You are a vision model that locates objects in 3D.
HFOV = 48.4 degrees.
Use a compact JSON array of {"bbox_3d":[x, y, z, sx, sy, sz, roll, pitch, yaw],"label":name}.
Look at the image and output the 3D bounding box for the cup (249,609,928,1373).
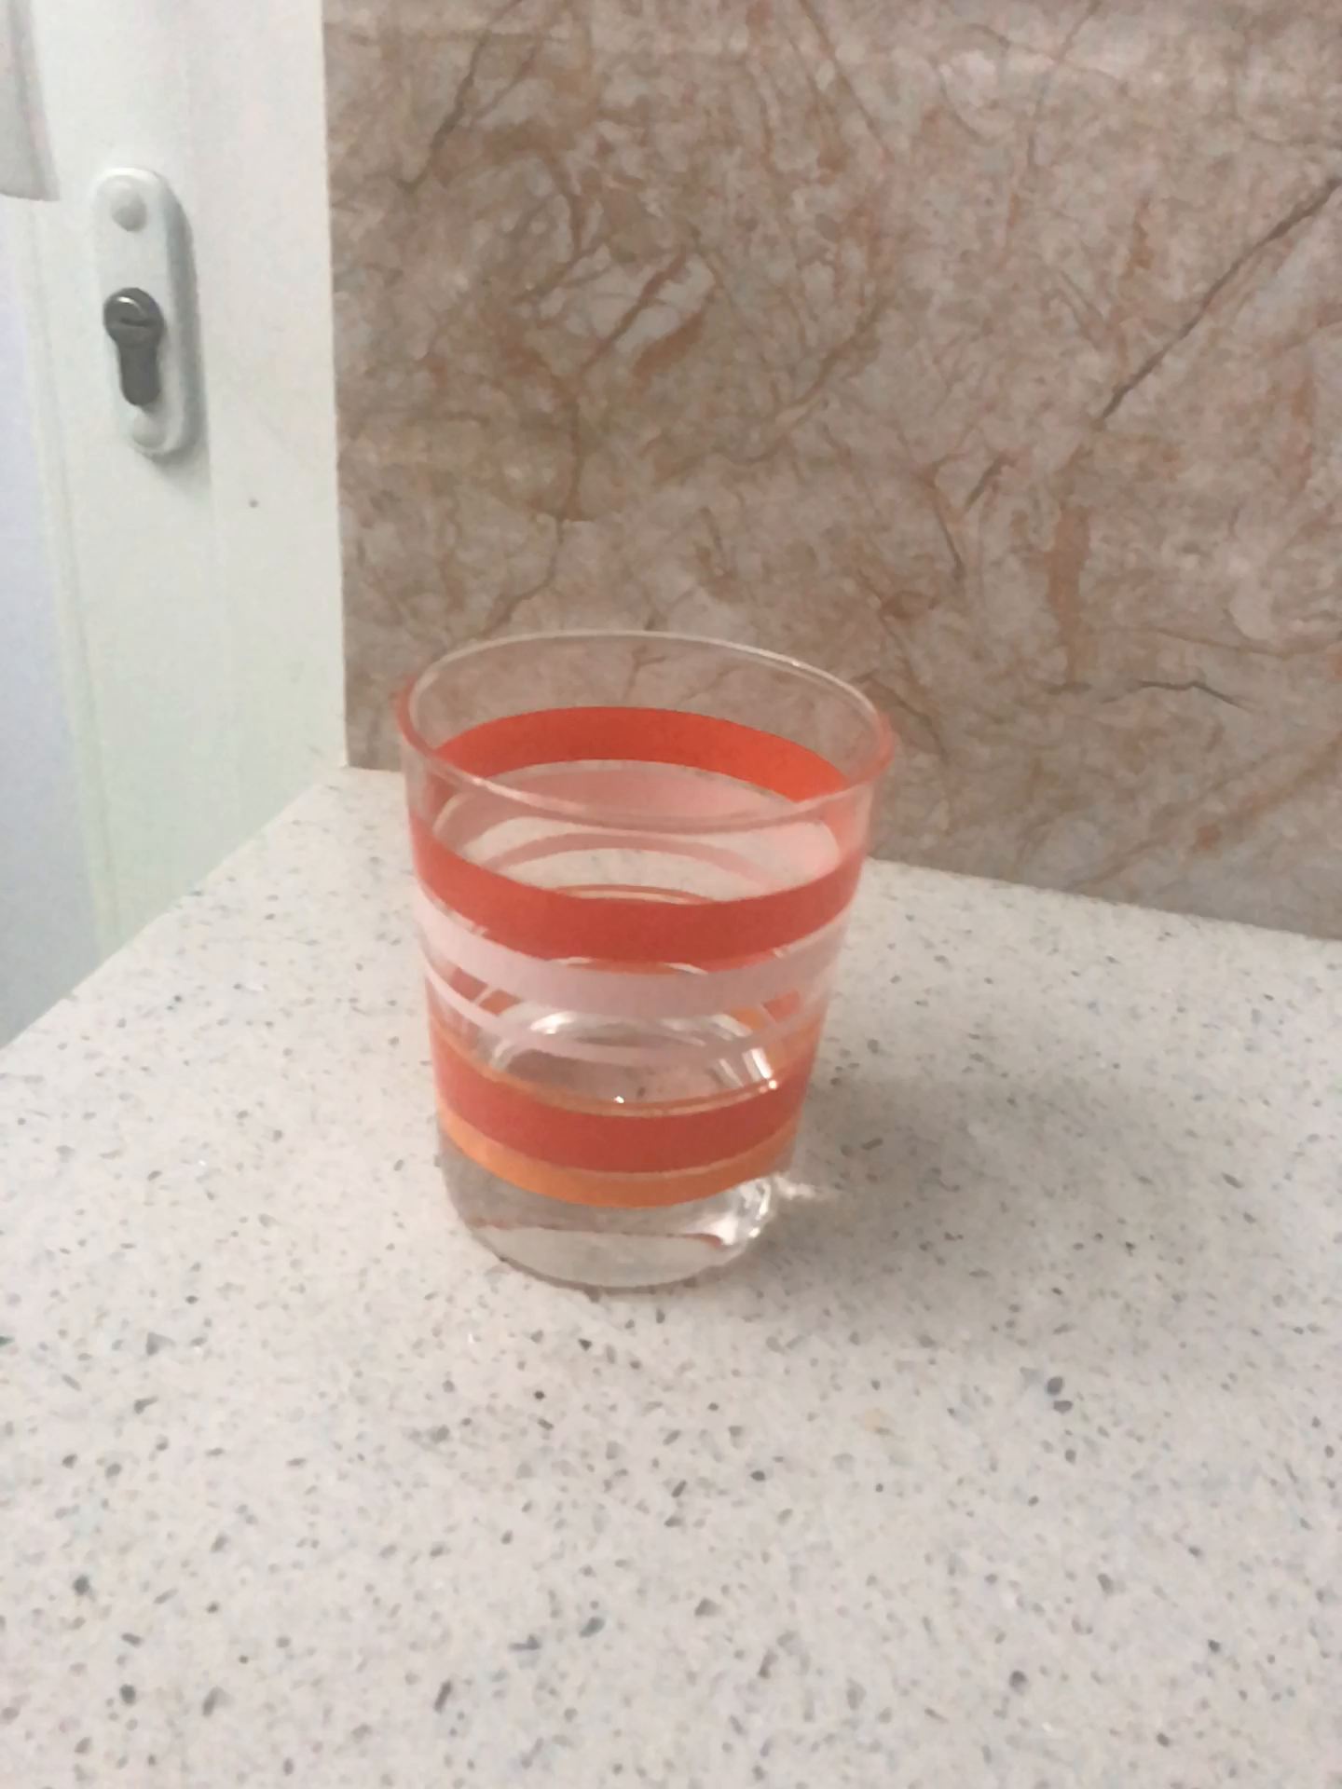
[{"bbox_3d":[-0.010,0.012,0.251,0.090,0.090,0.080,7,28,4],"label":"cup"}]
